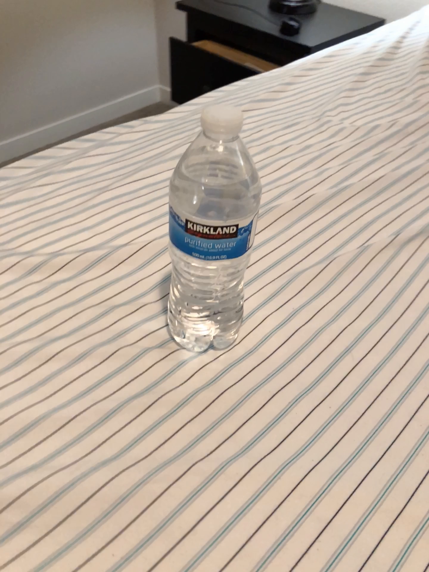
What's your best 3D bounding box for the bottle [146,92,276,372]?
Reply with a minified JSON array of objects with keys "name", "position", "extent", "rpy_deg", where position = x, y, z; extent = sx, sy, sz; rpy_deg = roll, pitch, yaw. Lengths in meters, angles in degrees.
[{"name":"bottle","position":[-0.002,-0.028,0.354],"extent":[0.070,0.199,0.070],"rpy_deg":[1,44,-1]}]
